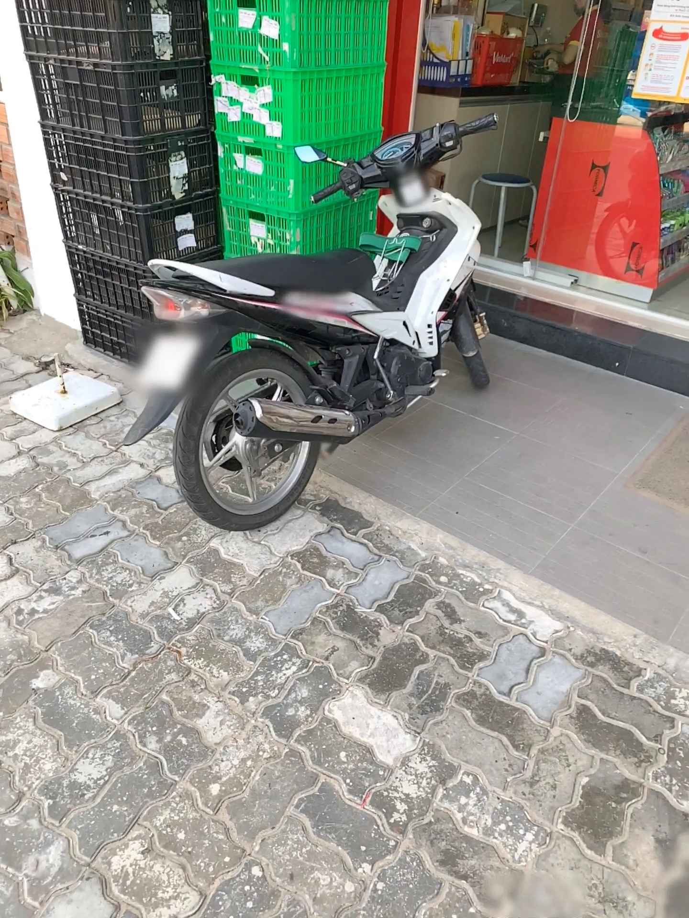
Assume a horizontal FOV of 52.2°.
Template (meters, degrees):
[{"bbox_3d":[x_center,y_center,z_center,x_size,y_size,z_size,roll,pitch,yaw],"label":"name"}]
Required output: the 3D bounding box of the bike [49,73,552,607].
[{"bbox_3d":[0.002,-0.615,2.519,0.668,1.186,1.822,21,37,26],"label":"bike"}]
